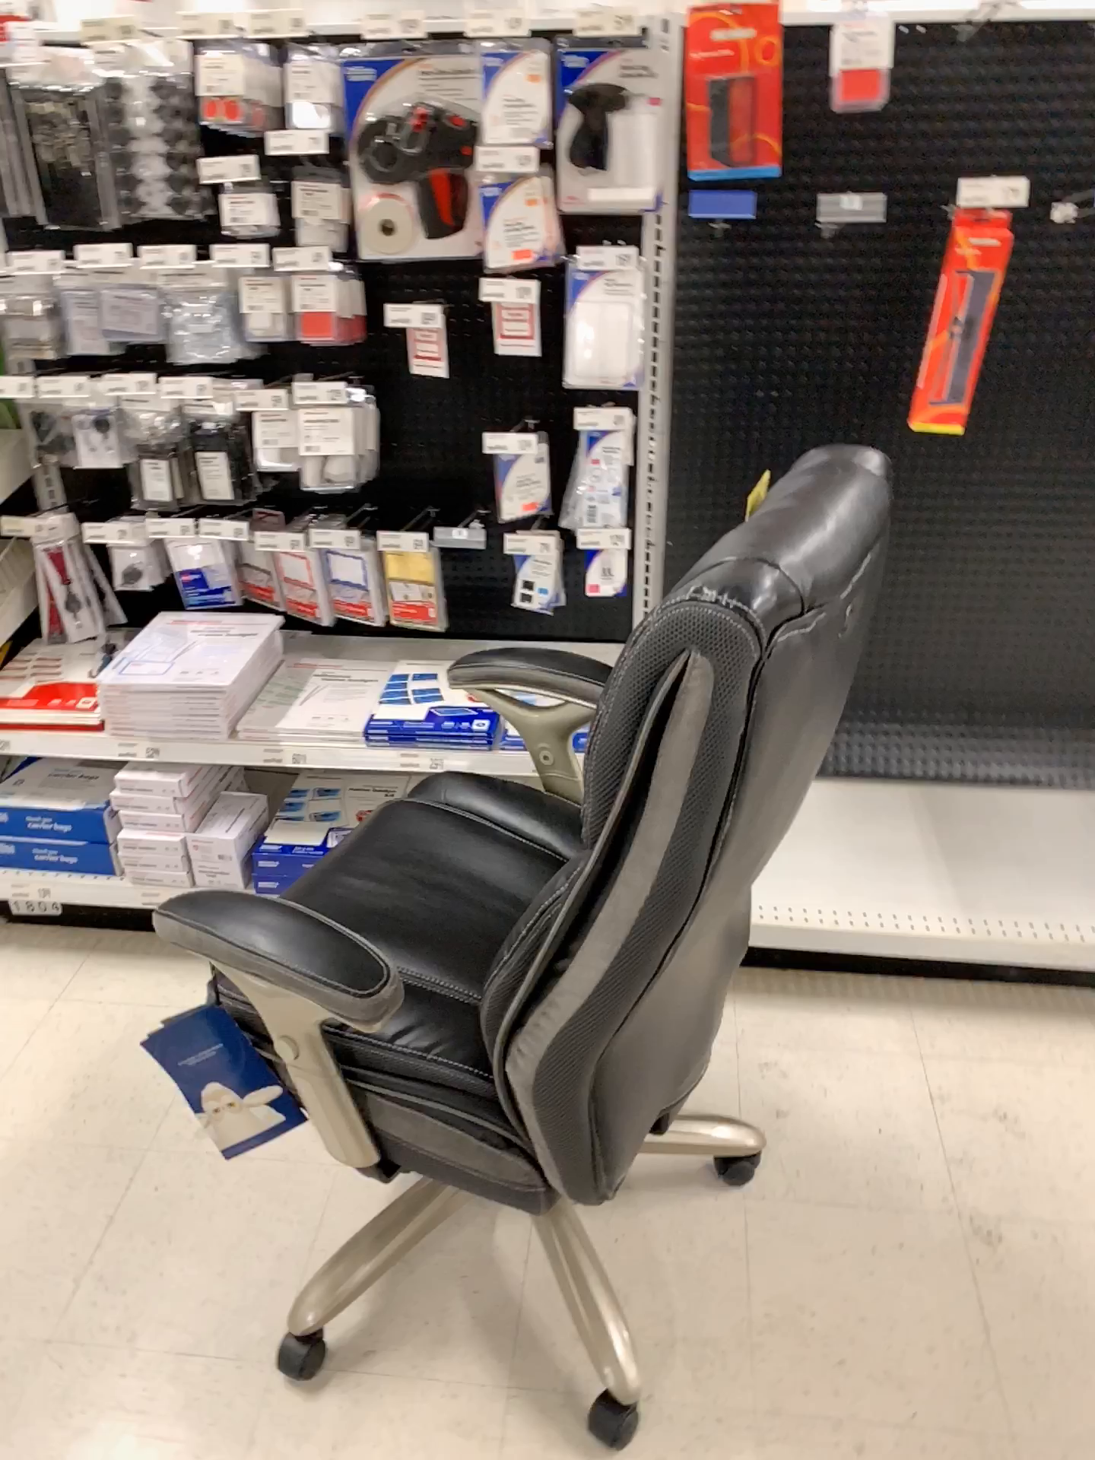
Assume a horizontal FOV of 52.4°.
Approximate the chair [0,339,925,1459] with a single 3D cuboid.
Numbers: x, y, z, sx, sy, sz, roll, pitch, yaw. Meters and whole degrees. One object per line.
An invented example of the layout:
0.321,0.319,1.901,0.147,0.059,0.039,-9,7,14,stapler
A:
-0.074,0.189,1.350,0.741,1.095,0.742,13,32,23,chair
